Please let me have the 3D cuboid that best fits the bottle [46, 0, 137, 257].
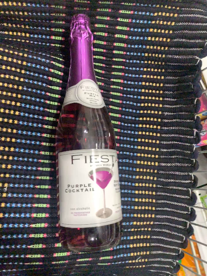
[{"bbox_3d":[-0.029,-0.038,0.289,0.080,0.080,0.330,0,76,-21],"label":"bottle"}]
